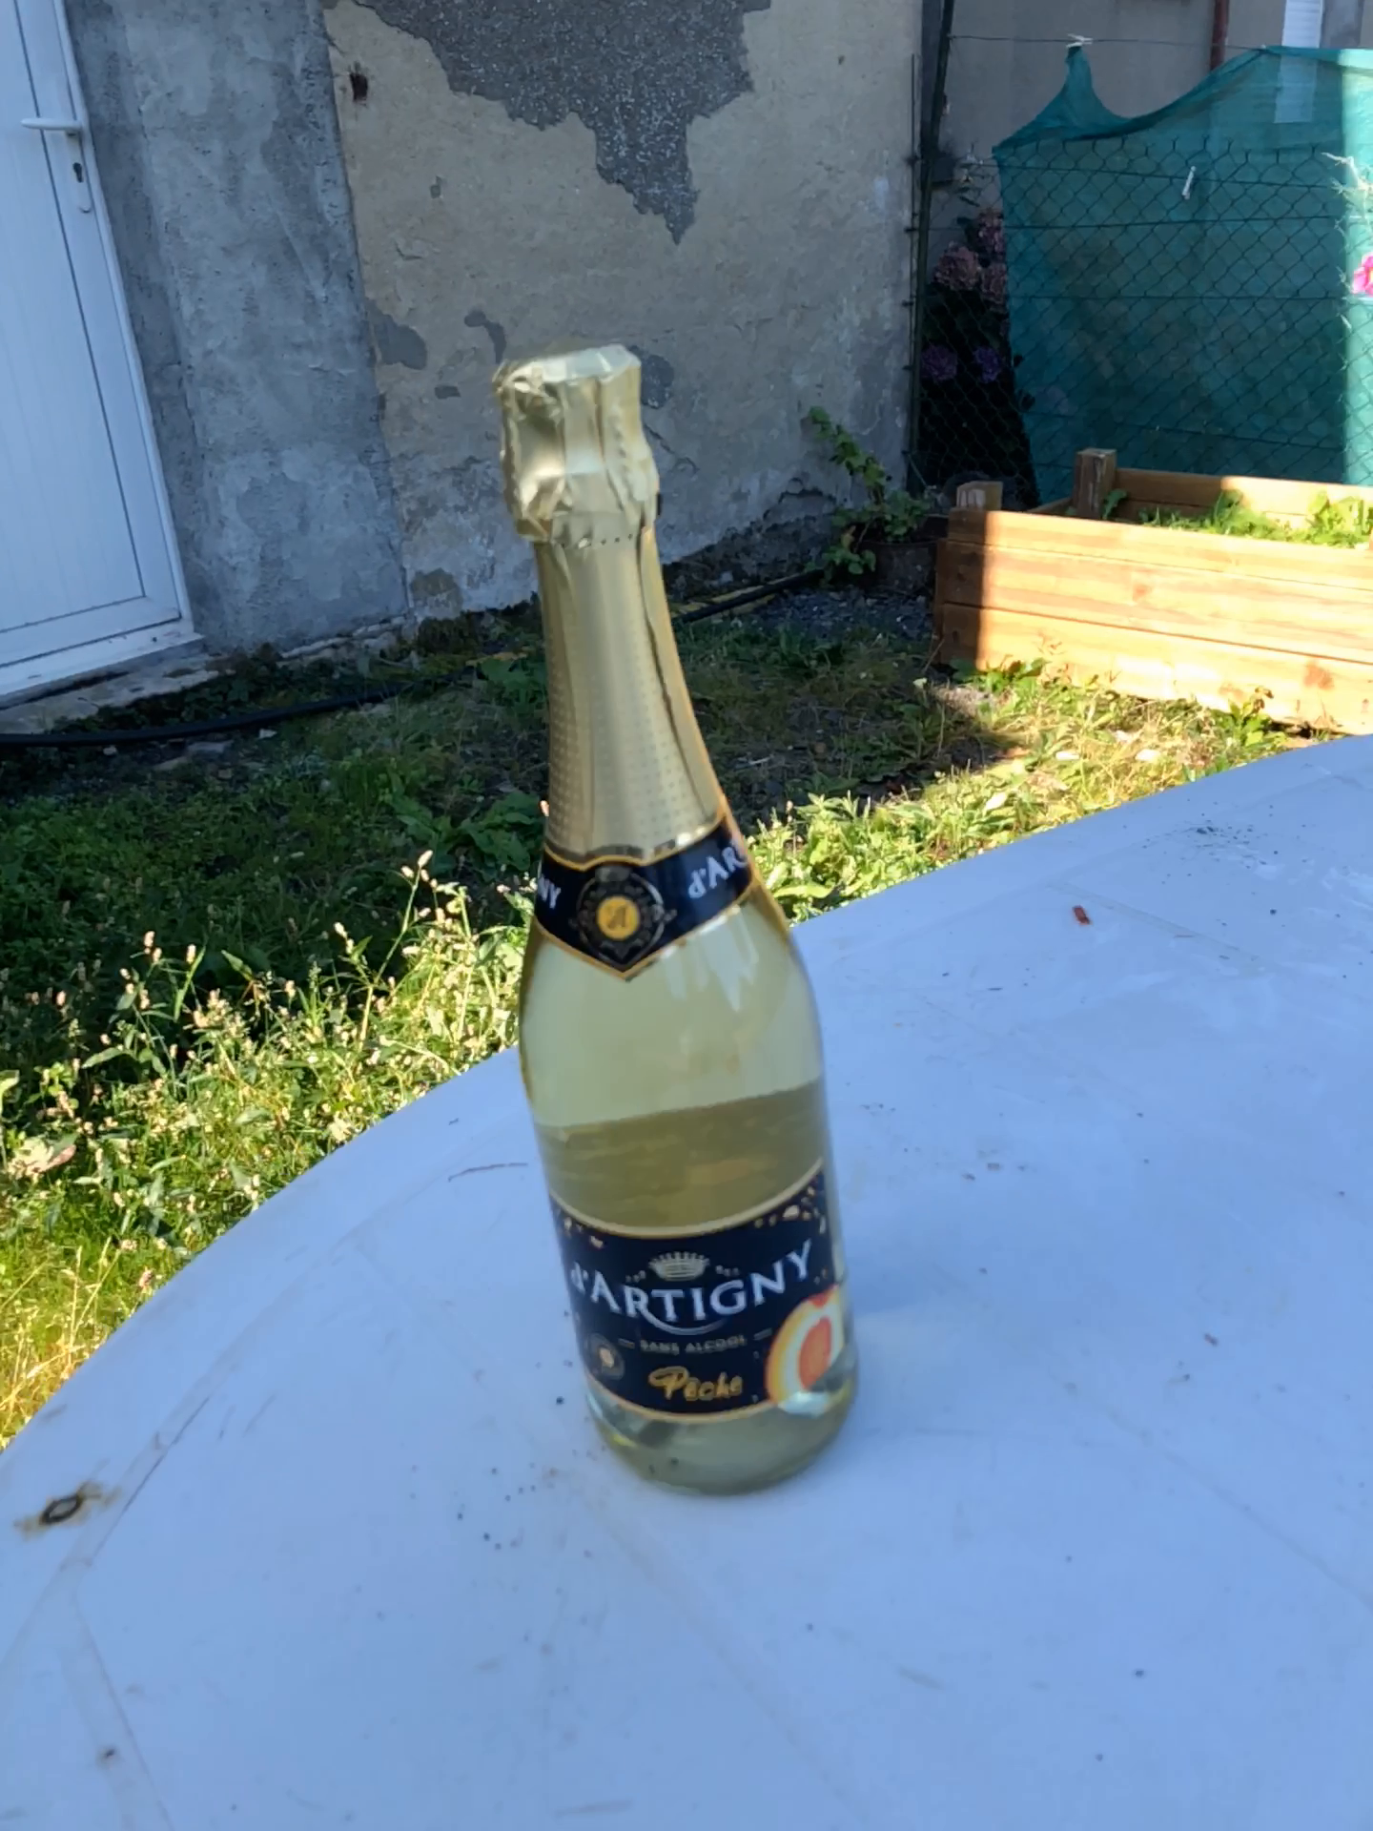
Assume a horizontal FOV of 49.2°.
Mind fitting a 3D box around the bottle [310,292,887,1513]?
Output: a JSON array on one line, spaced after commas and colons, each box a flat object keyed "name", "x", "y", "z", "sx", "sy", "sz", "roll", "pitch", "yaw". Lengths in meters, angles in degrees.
[{"name": "bottle", "x": -0.005, "y": 0.006, "z": 0.391, "sx": 0.090, "sy": 0.298, "sz": 0.091, "roll": -6, "pitch": 25, "yaw": 3}]
